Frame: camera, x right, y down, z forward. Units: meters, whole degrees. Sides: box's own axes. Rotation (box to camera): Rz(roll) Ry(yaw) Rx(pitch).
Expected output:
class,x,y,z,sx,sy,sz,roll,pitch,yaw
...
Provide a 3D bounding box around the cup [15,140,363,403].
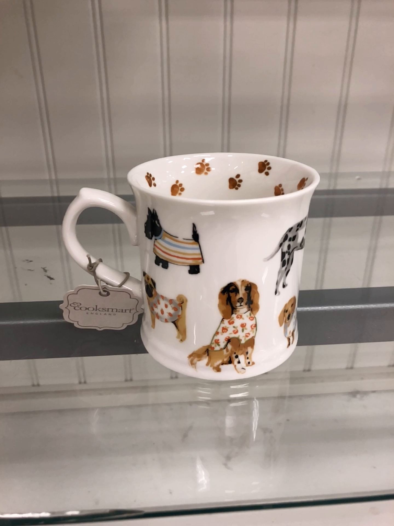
class,x,y,z,sx,sy,sz,roll,pitch,yaw
cup,0.000,-0.006,0.220,0.125,0.089,0.101,3,25,6
